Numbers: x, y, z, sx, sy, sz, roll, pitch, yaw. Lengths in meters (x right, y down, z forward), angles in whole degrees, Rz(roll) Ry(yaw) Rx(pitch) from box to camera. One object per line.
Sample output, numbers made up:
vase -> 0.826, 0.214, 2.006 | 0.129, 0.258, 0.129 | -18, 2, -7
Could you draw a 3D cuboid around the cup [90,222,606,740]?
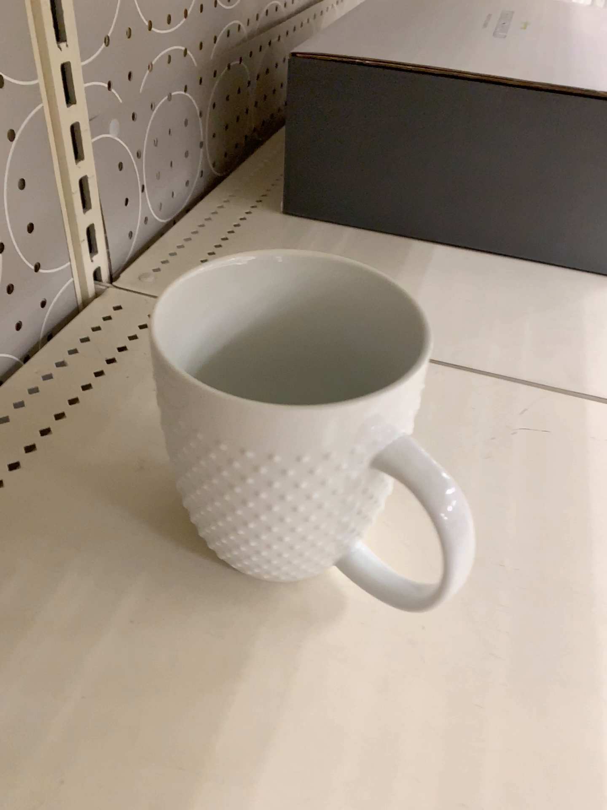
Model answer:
cup -> 0.009, 0.019, 0.236 | 0.138, 0.105, 0.094 | 32, 48, 26
